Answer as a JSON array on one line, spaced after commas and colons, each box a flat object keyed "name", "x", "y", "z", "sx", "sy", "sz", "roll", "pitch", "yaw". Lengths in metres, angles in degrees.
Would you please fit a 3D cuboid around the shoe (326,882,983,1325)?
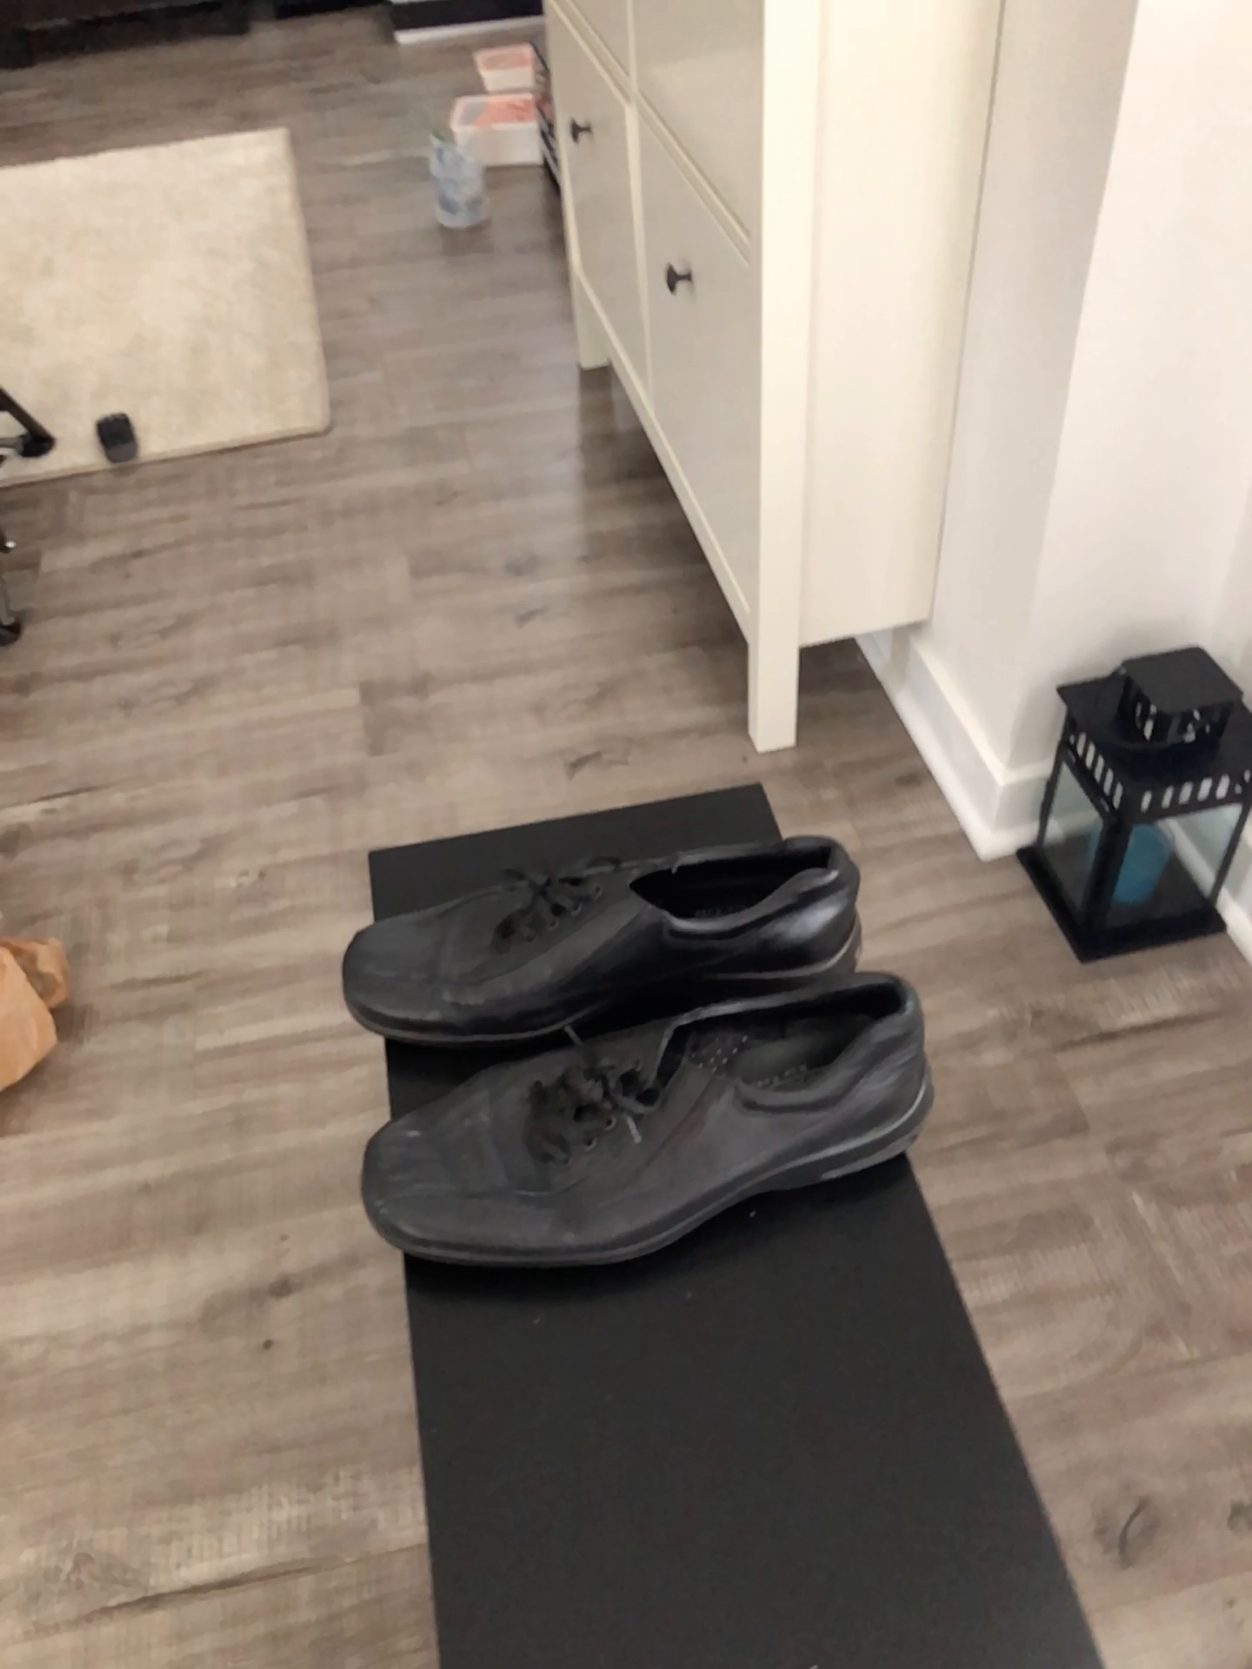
[{"name": "shoe", "x": 0.011, "y": 0.128, "z": 0.667, "sx": 0.283, "sy": 0.110, "sz": 0.111, "roll": -12, "pitch": 46, "yaw": -5}]

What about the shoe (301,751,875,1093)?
[{"name": "shoe", "x": -0.019, "y": 0.048, "z": 0.758, "sx": 0.286, "sy": 0.110, "sz": 0.111, "roll": -7, "pitch": 45, "yaw": 0}]
